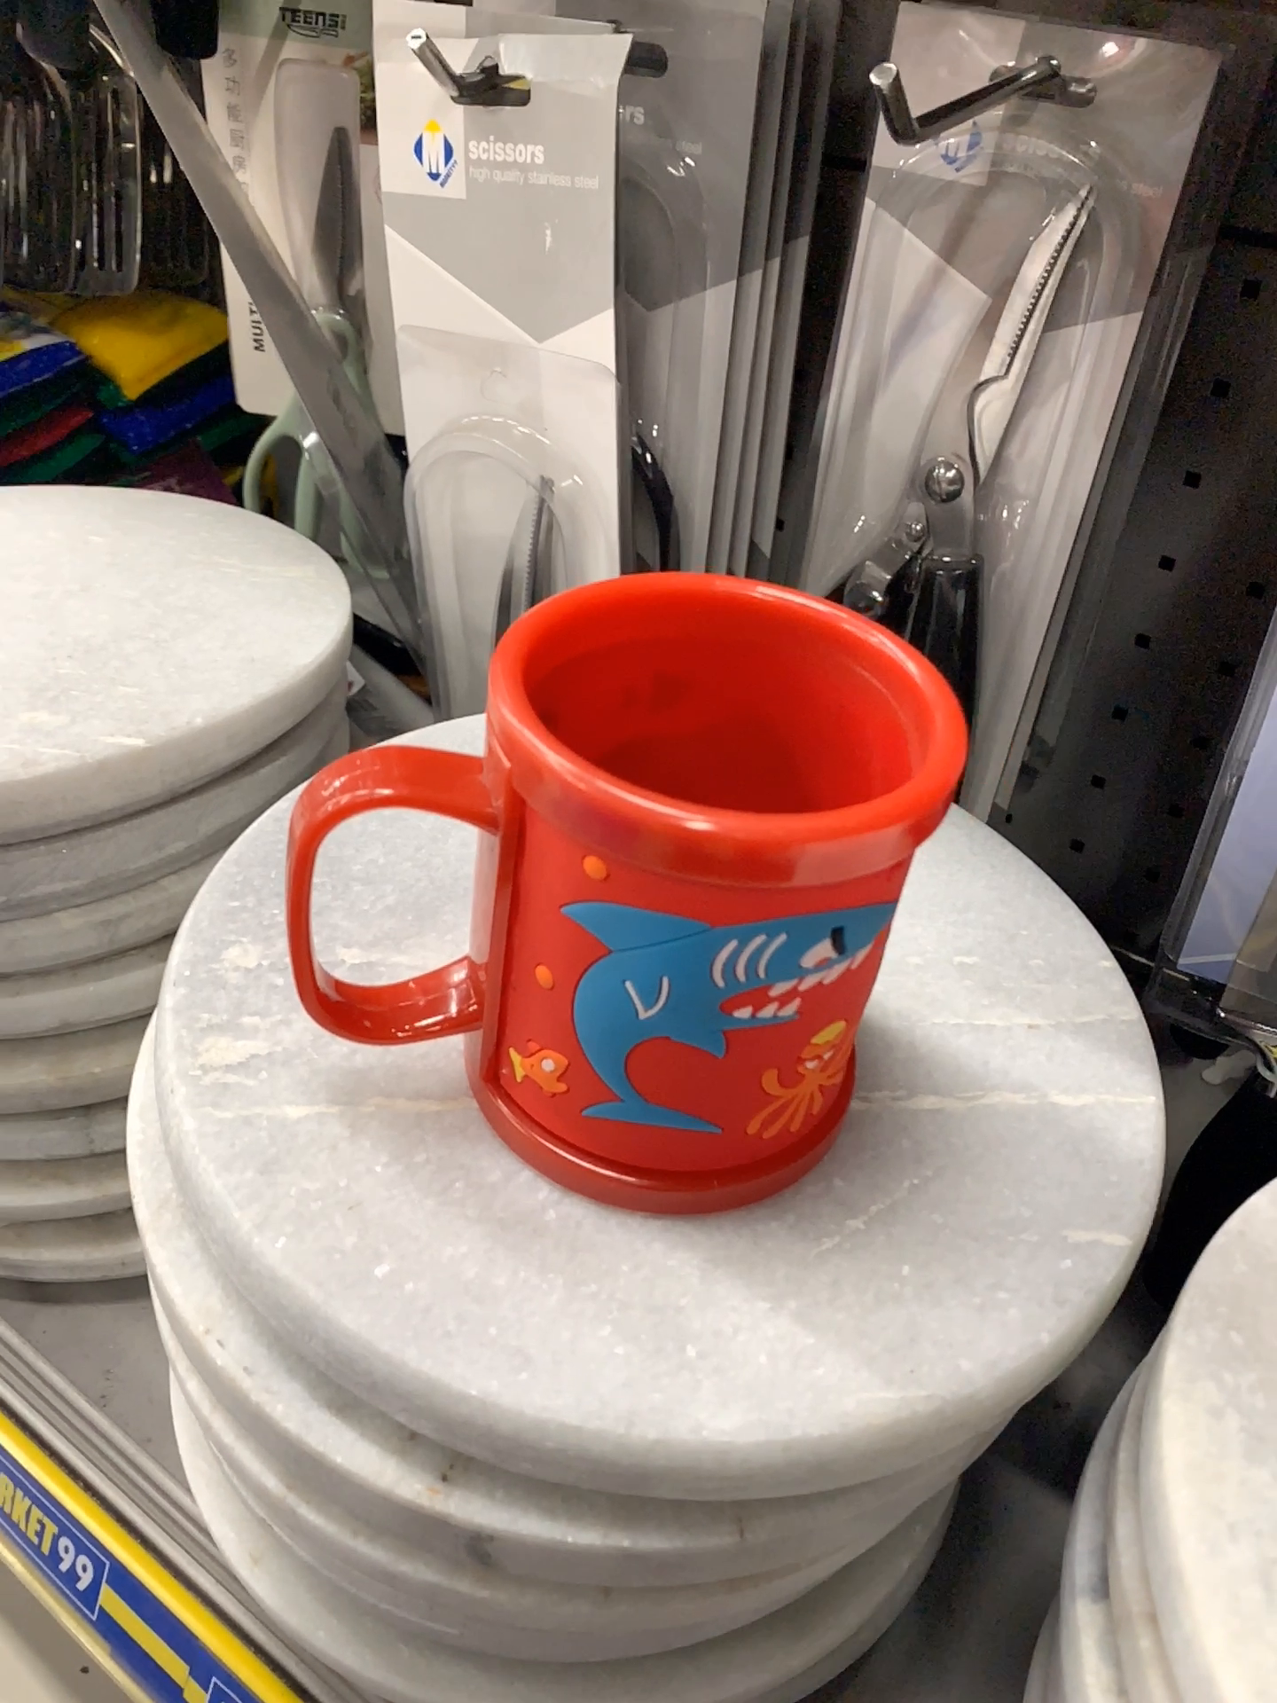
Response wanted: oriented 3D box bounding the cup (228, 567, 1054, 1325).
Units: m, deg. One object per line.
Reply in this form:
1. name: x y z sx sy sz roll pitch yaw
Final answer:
1. cup: -0.008 0.013 0.246 0.120 0.100 0.080 -6 37 -13
